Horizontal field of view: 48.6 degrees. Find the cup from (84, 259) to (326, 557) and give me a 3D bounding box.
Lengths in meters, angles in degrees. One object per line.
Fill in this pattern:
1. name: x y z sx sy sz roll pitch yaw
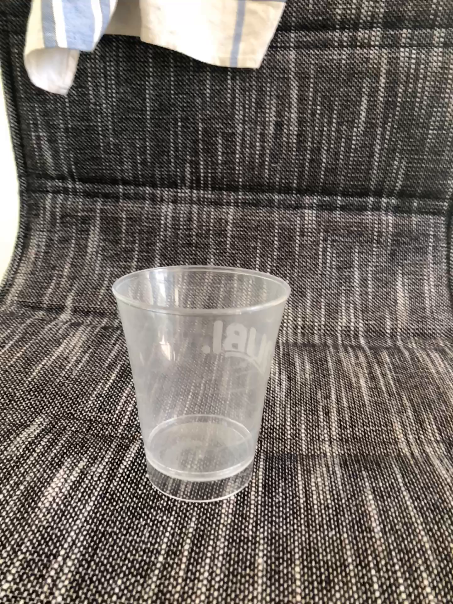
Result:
1. cup: -0.013 0.040 0.245 0.080 0.100 0.080 2 17 0
